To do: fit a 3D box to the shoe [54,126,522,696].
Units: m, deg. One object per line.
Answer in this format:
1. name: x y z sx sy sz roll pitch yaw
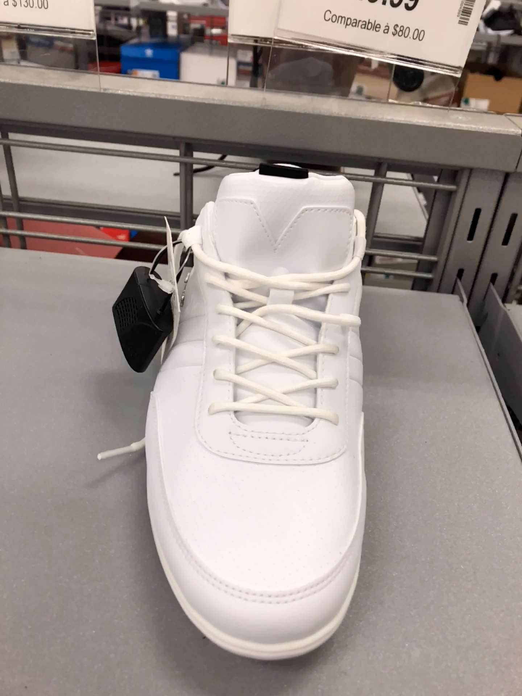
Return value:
1. shoe: 0.004 -0.008 0.278 0.110 0.119 0.272 4 34 -3
